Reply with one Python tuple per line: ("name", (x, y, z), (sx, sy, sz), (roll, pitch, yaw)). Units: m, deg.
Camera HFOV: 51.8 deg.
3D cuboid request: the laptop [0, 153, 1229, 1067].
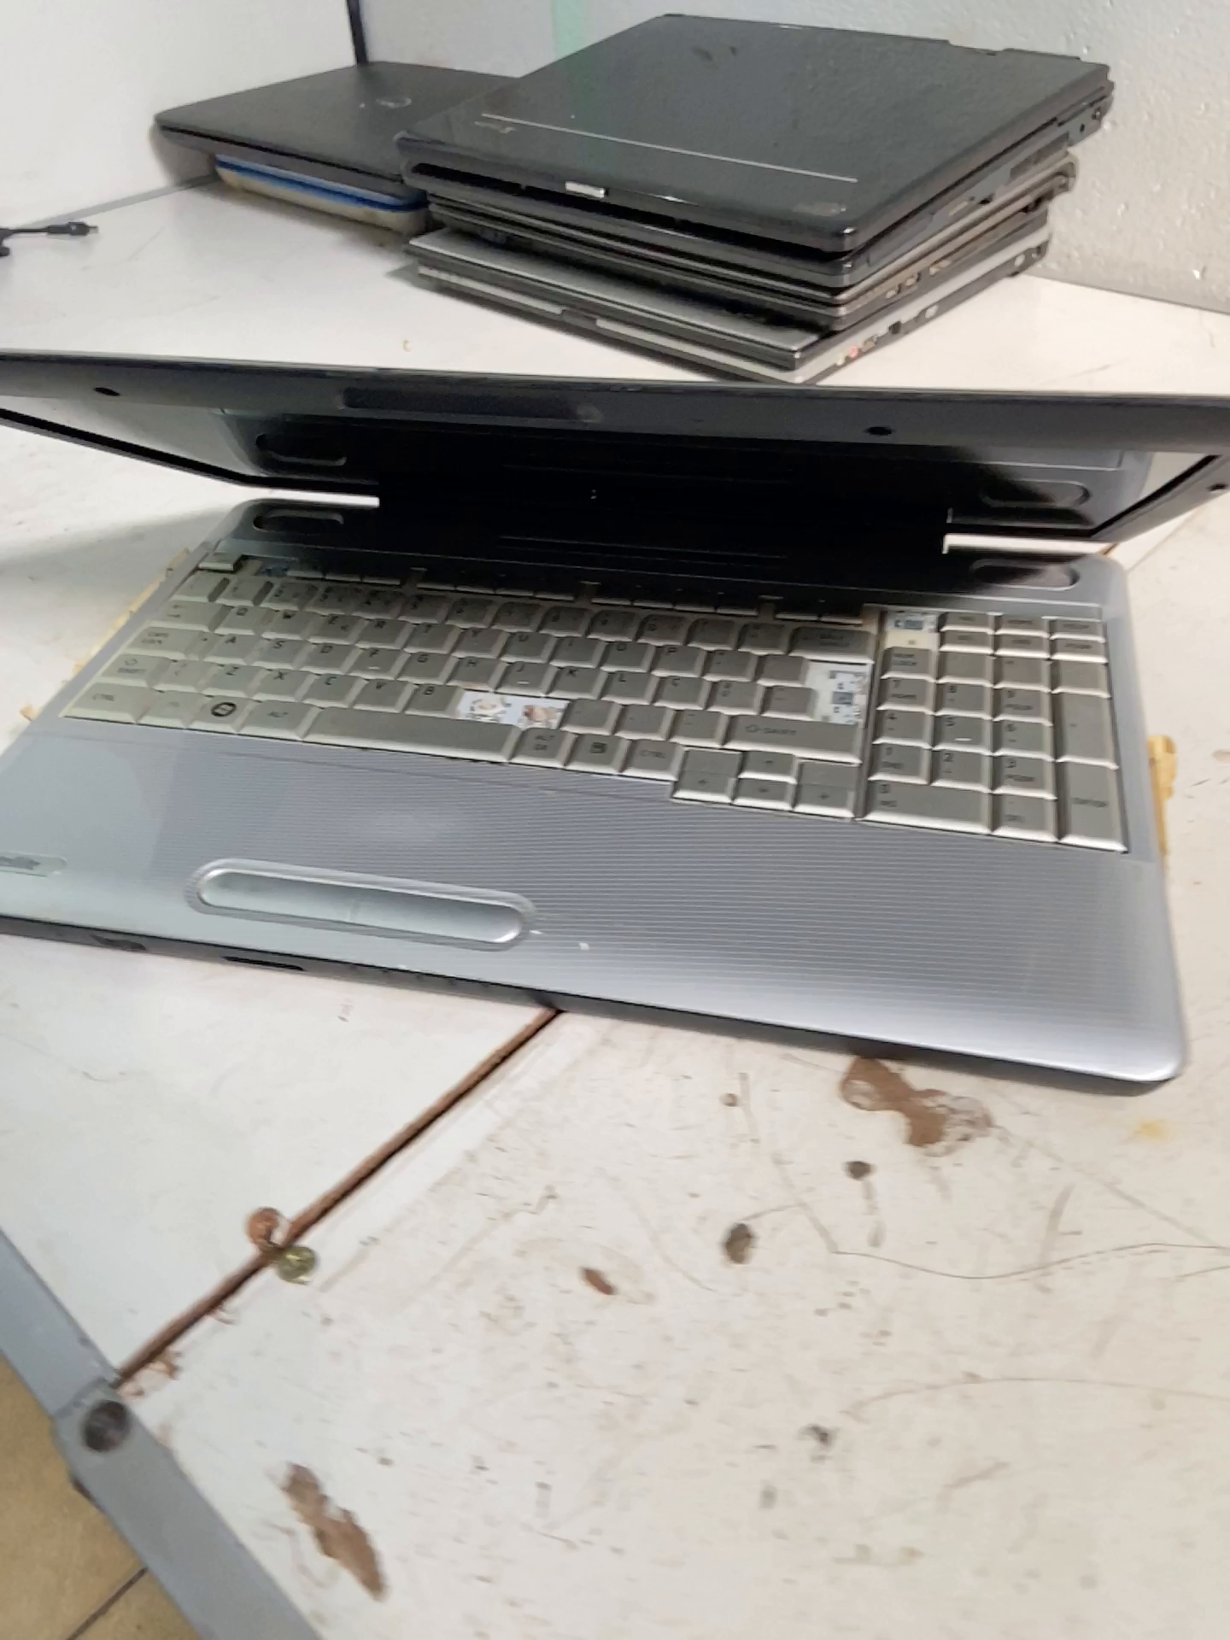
("laptop", (-0.014, -0.096, 0.402), (0.371, 0.143, 0.257), (7, 42, 11))
